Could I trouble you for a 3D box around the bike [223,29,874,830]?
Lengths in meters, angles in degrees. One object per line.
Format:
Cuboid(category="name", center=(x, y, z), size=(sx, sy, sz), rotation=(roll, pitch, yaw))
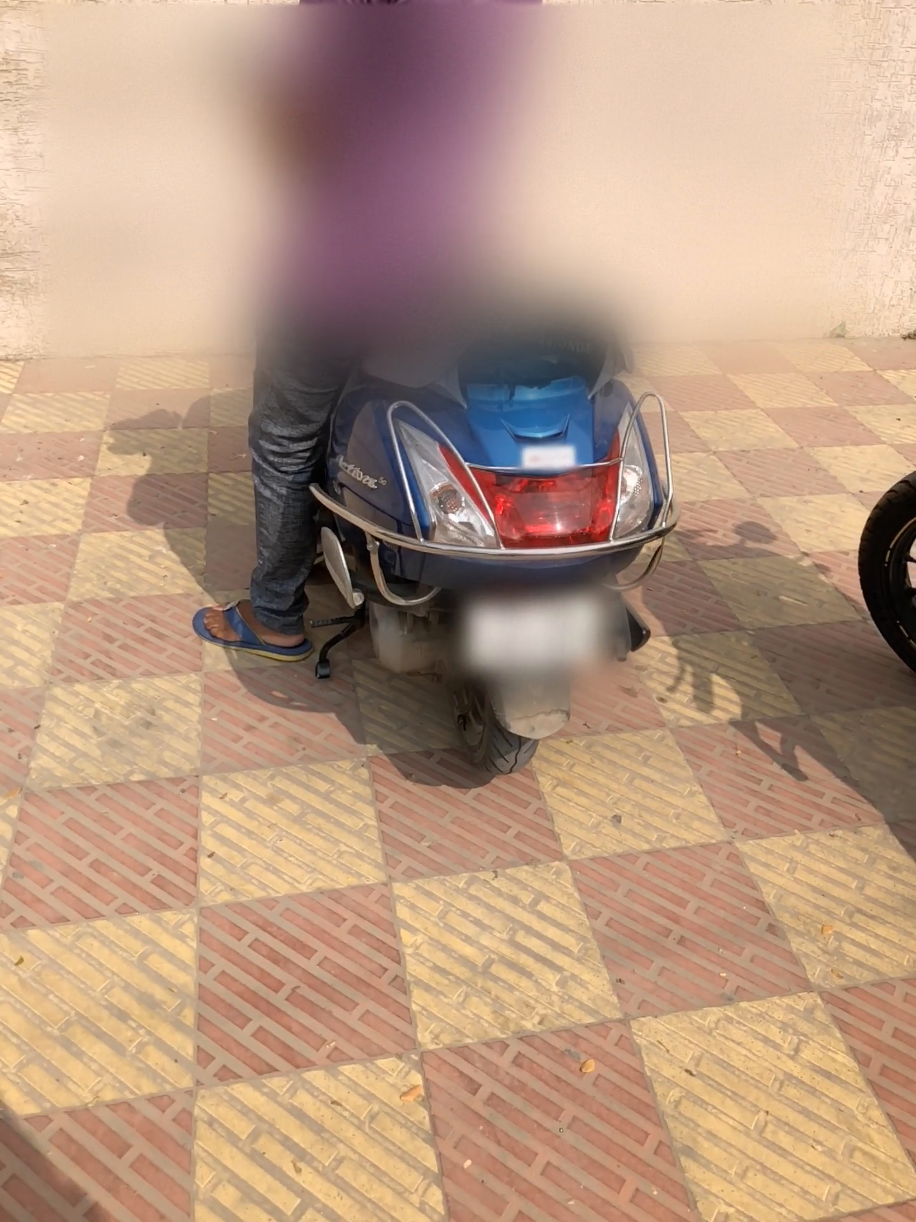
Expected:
Cuboid(category="bike", center=(-0.051, -0.568, 2.126), size=(0.623, 1.037, 1.708), rotation=(-7, 34, -16))
